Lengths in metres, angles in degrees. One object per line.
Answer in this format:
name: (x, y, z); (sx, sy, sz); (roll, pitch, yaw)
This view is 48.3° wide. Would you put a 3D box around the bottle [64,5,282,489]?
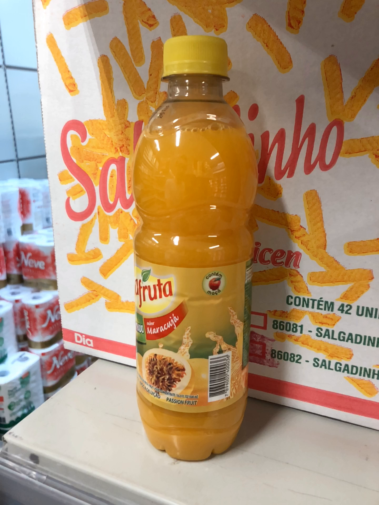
bottle: (-0.005, 0.001, 0.209); (0.070, 0.199, 0.060); (13, 23, 38)
